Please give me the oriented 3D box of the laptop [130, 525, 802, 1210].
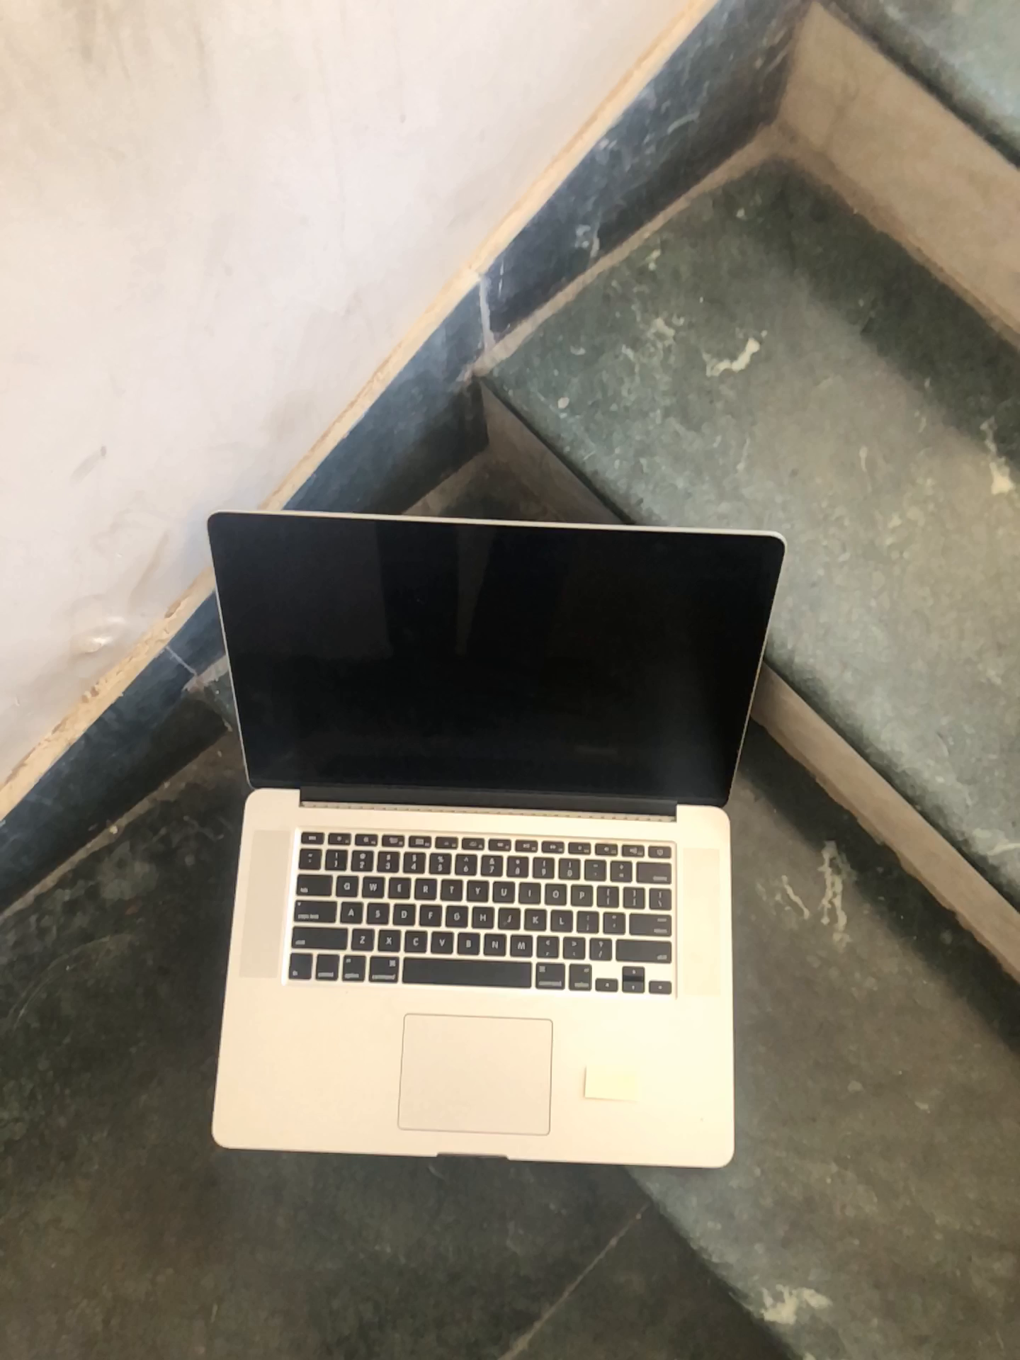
[{"bbox_3d":[-0.019,0.114,0.712,0.341,0.195,0.363,2,73,0],"label":"laptop"}]
